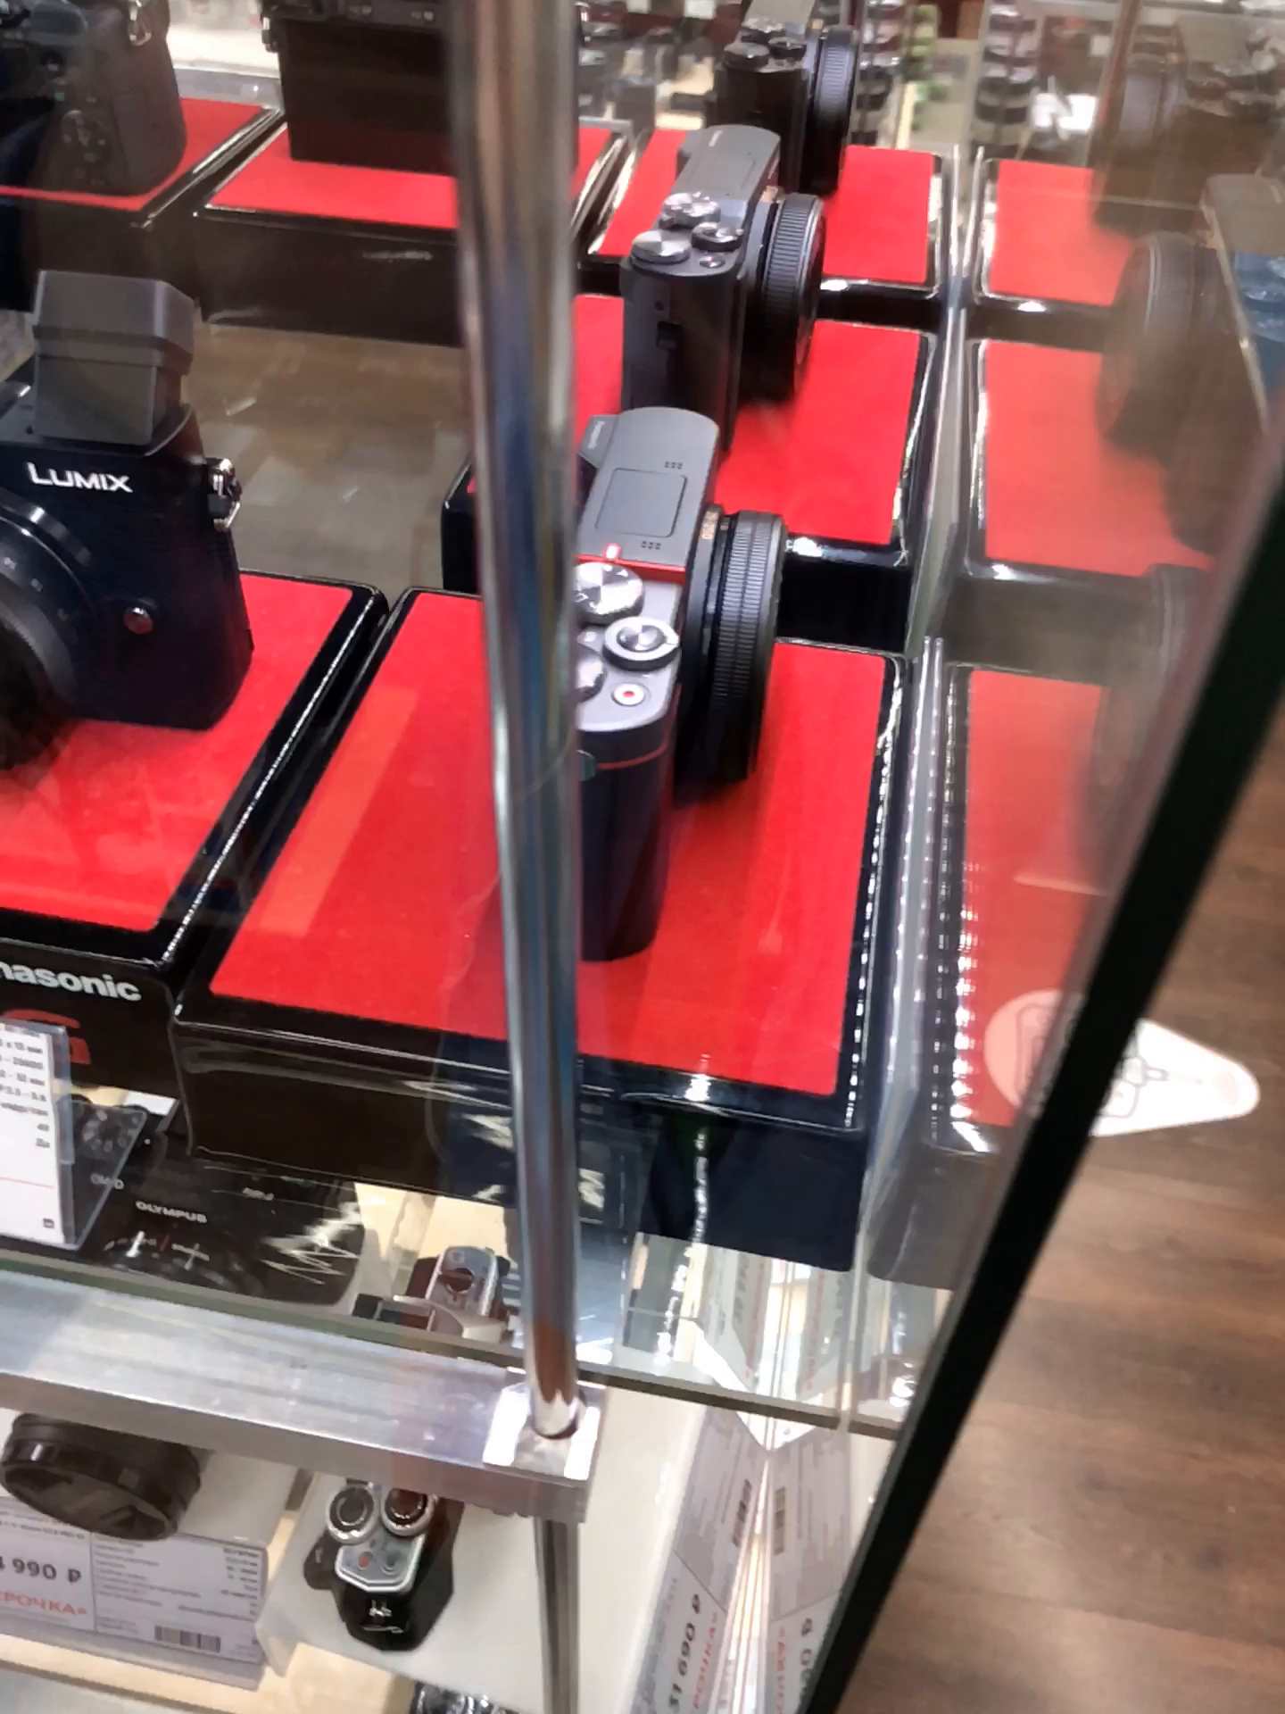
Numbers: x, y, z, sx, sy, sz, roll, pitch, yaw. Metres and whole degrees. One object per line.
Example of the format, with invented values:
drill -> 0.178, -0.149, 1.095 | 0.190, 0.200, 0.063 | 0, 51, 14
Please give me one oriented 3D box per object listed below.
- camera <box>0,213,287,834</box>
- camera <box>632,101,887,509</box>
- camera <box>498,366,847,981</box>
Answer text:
camera -> -0.152, -0.073, 0.316 | 0.113, 0.101, 0.069 | 8, 45, 5
camera -> 0.036, -0.168, 0.426 | 0.051, 0.070, 0.113 | 11, 45, 8
camera -> 0.009, -0.043, 0.302 | 0.050, 0.070, 0.113 | 9, 45, 6
